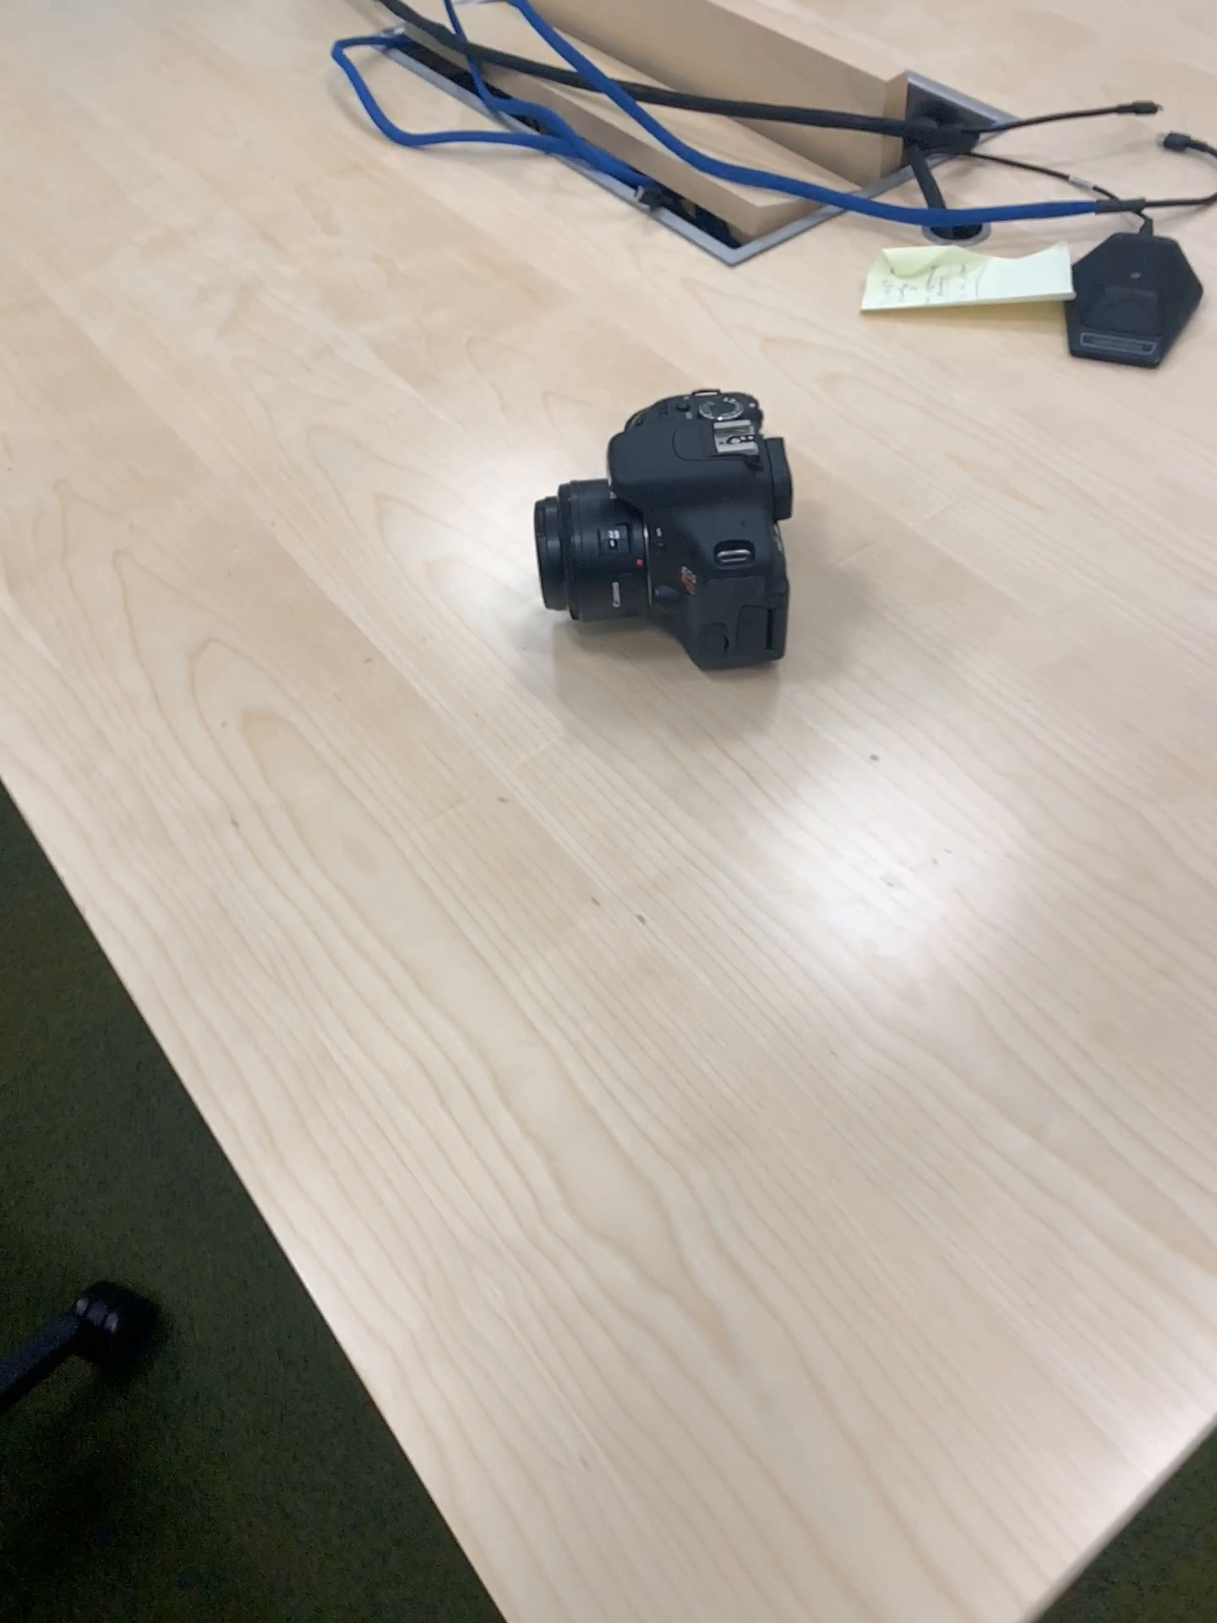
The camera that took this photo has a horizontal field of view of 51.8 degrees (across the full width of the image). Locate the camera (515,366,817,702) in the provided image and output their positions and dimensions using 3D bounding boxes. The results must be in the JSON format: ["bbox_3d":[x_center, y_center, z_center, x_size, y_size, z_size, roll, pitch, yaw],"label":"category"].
[{"bbox_3d":[0.025,-0.137,0.615,0.127,0.085,0.130,-6,53,1],"label":"camera"}]
